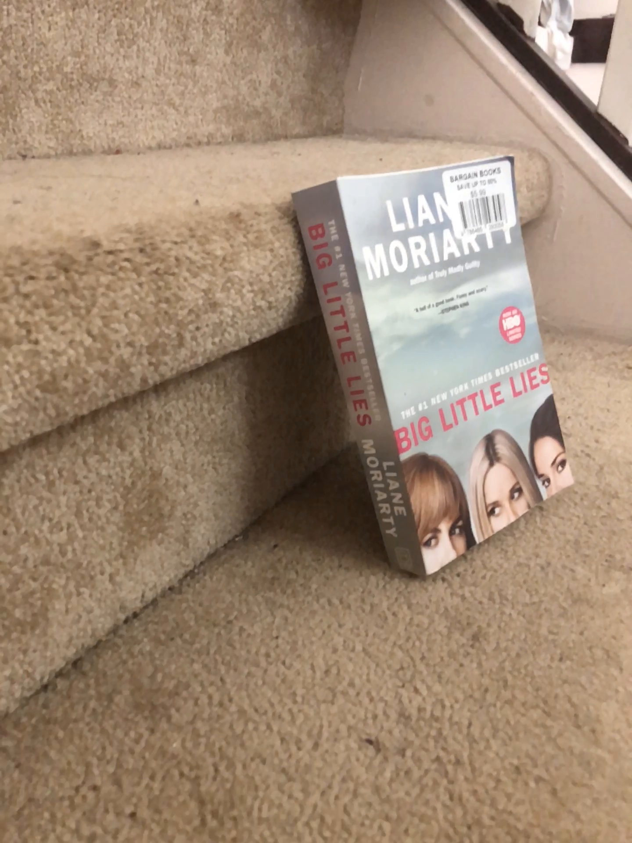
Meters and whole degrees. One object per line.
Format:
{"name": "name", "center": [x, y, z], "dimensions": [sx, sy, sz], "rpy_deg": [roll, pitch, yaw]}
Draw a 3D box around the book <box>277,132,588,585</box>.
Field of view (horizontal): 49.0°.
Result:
{"name": "book", "center": [0.077, -0.045, 0.387], "dimensions": [0.050, 0.209, 0.160], "rpy_deg": [-3, 15, 46]}
